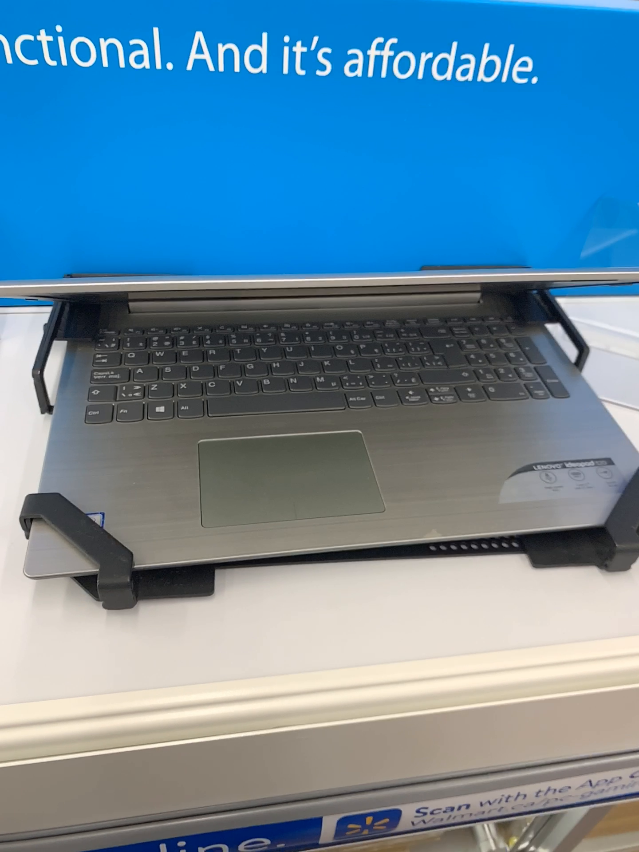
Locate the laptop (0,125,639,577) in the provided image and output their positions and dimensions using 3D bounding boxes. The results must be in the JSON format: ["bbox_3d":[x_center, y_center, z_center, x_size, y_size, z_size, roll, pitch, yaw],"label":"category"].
[{"bbox_3d":[0.017,-0.064,0.365,0.326,0.115,0.230,-3,42,-10],"label":"laptop"}]
